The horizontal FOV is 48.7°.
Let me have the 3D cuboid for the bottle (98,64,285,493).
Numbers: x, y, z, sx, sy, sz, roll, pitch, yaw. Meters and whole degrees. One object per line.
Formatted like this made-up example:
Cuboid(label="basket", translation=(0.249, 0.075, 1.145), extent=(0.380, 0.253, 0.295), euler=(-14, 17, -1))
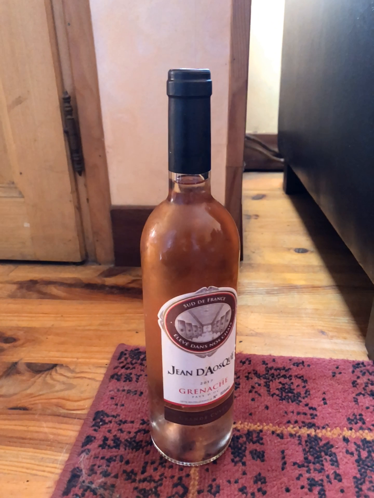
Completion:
Cuboid(label="bottle", translation=(0.001, 0.031, 0.311), extent=(0.090, 0.308, 0.080), euler=(-9, 26, -17))
